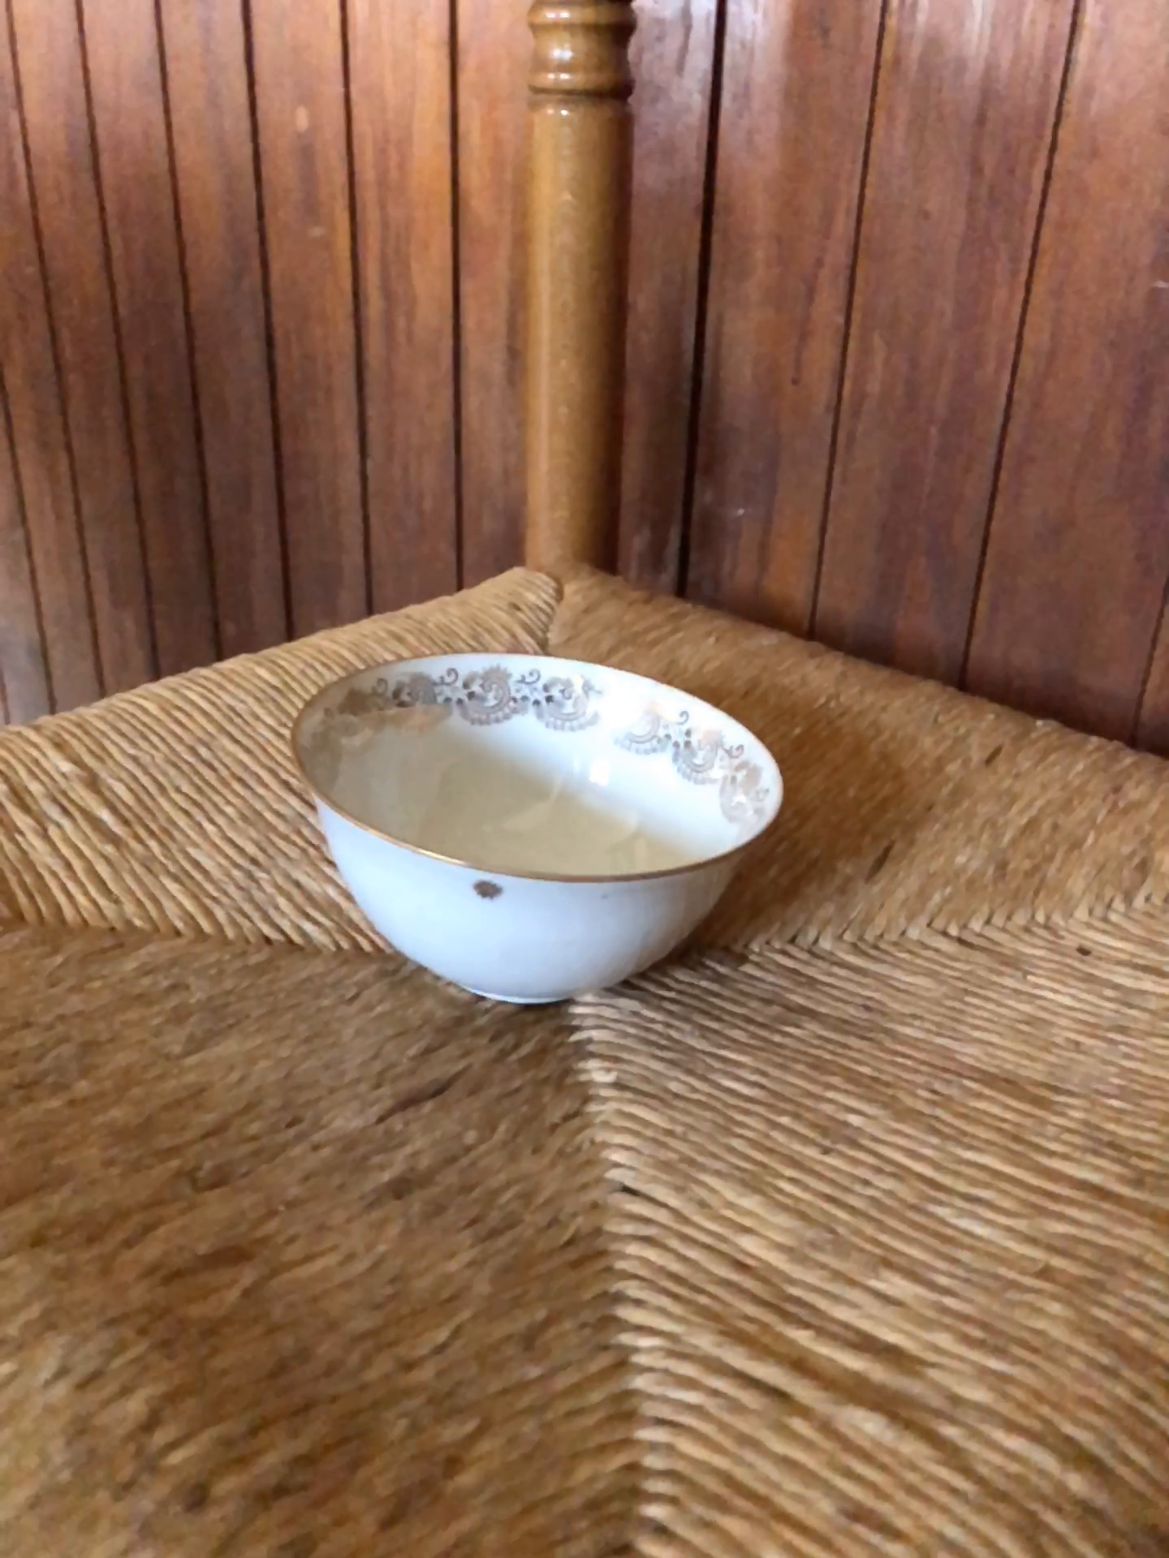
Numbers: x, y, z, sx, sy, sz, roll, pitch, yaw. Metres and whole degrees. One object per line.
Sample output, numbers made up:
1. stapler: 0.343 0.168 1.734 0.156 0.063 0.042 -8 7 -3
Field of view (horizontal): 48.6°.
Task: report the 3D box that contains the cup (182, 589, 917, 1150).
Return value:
1. cup: -0.005 0.008 0.309 0.110 0.050 0.131 25 35 34
